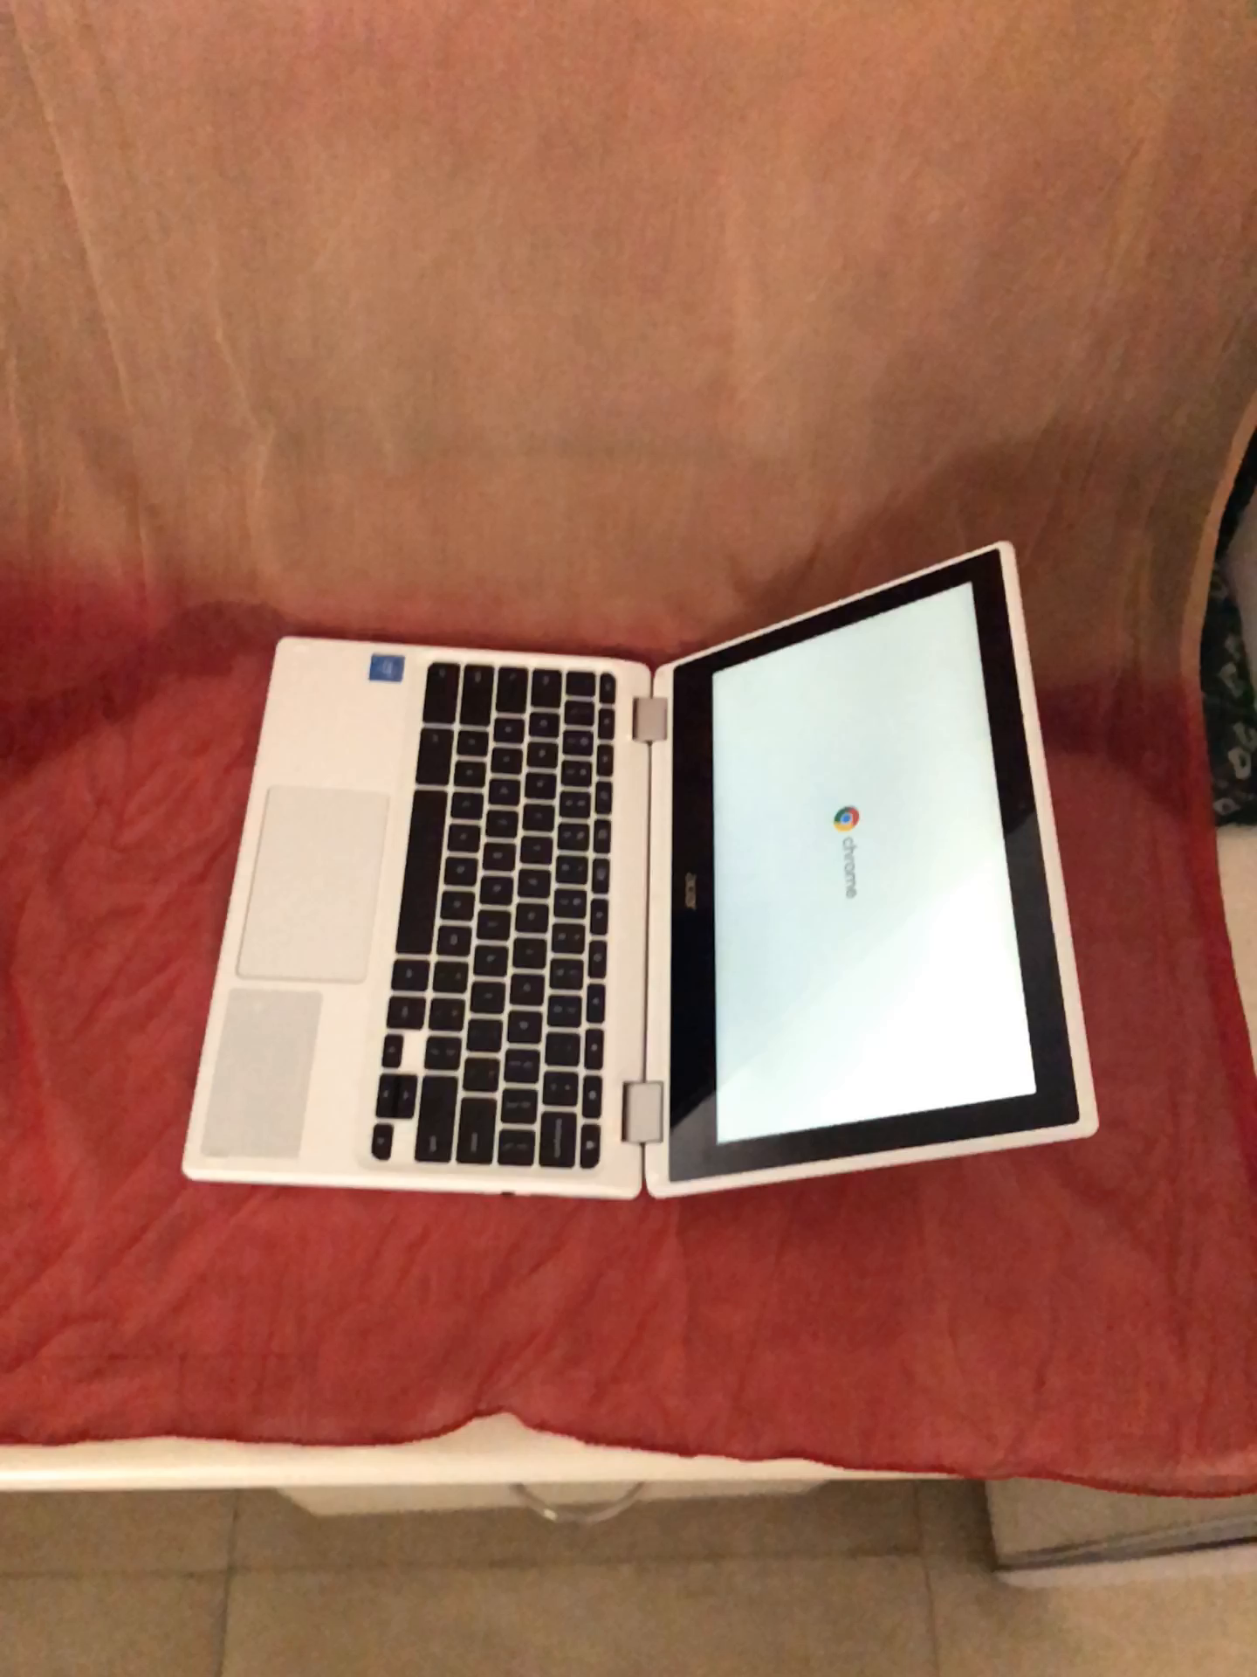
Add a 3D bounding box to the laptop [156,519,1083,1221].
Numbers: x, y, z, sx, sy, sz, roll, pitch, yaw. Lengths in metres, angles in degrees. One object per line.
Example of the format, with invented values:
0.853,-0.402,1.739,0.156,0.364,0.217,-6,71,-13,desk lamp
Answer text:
-0.002,0.012,0.616,0.337,0.113,0.264,4,60,-3,laptop
